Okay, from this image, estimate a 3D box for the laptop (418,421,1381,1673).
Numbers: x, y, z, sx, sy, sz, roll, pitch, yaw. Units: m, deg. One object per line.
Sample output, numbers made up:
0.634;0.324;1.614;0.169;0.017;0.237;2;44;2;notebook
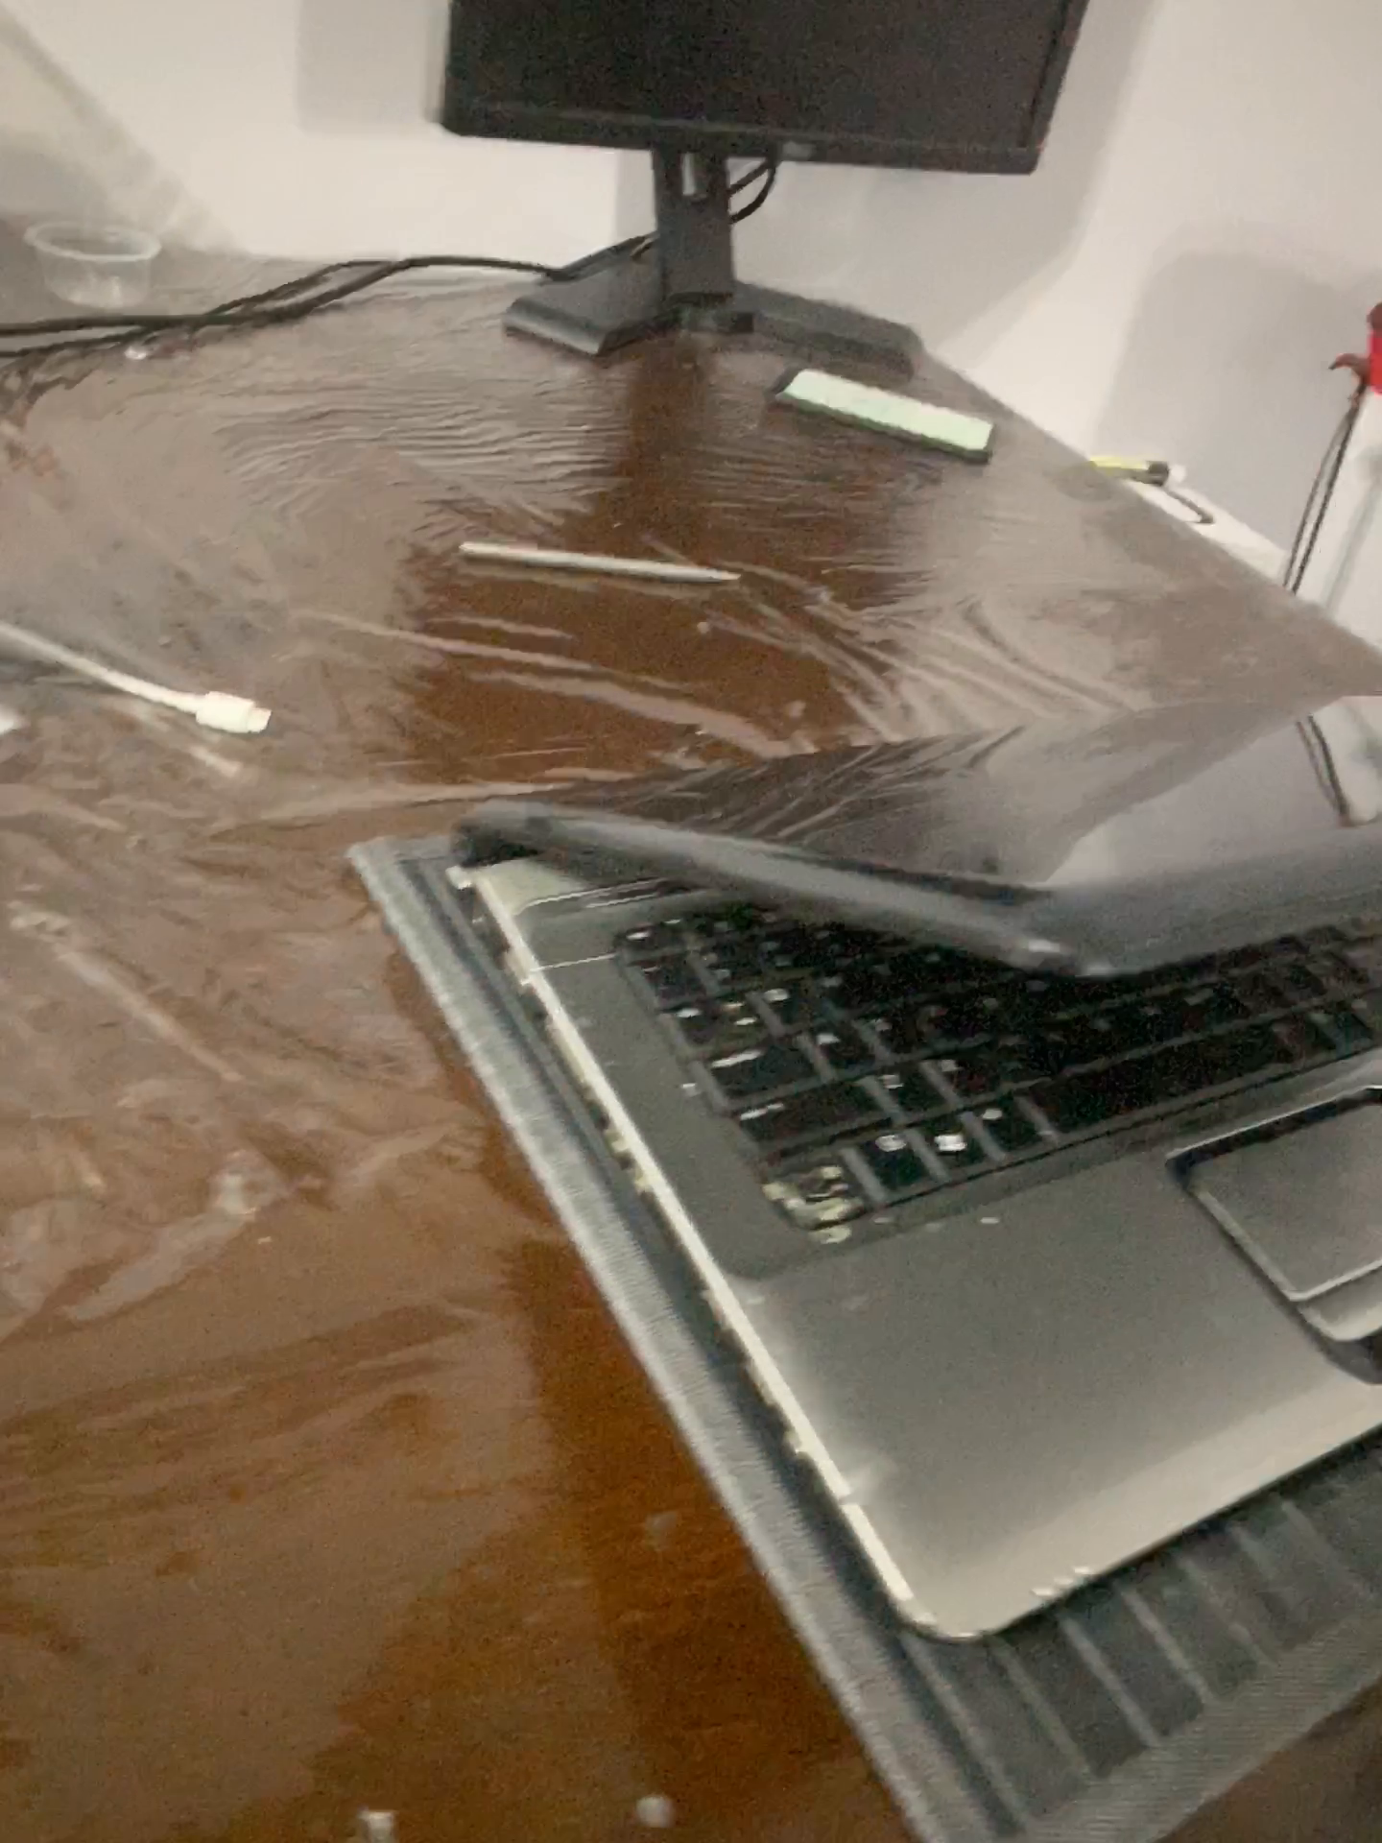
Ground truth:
0.134;-0.022;0.376;0.344;0.108;0.244;-11;46;-31;laptop
